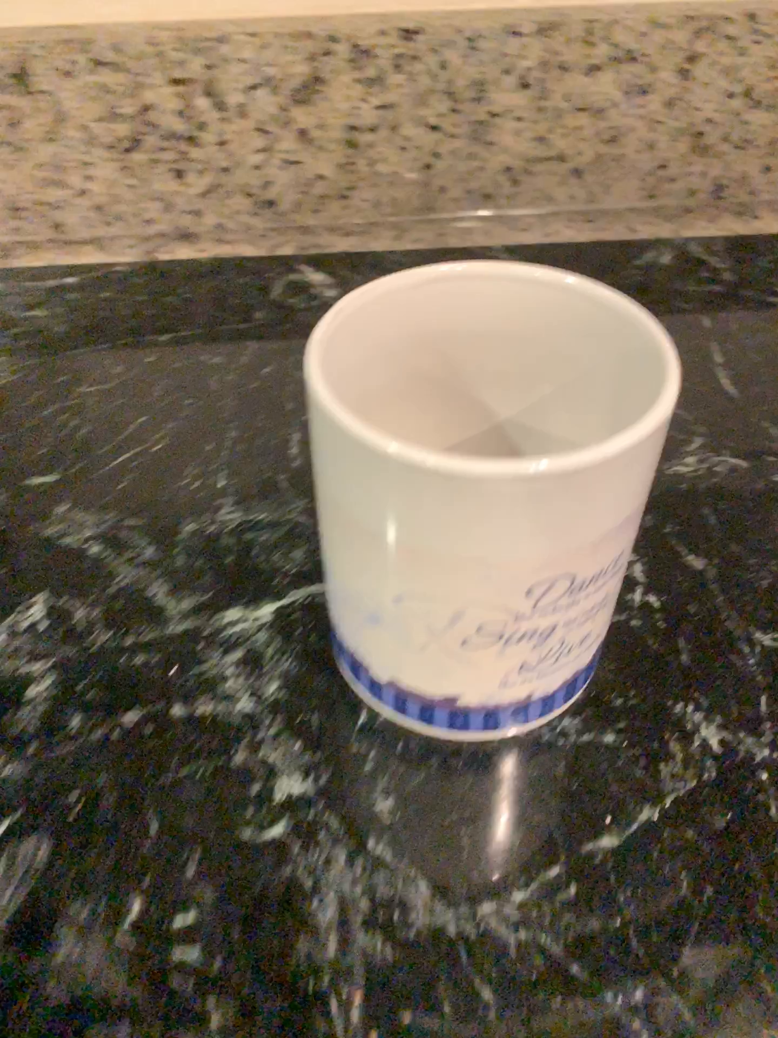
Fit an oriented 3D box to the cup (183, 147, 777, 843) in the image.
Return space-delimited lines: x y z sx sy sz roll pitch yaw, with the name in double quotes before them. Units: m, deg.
"cup" 0.036 -0.016 0.210 0.090 0.099 0.131 31 52 29
